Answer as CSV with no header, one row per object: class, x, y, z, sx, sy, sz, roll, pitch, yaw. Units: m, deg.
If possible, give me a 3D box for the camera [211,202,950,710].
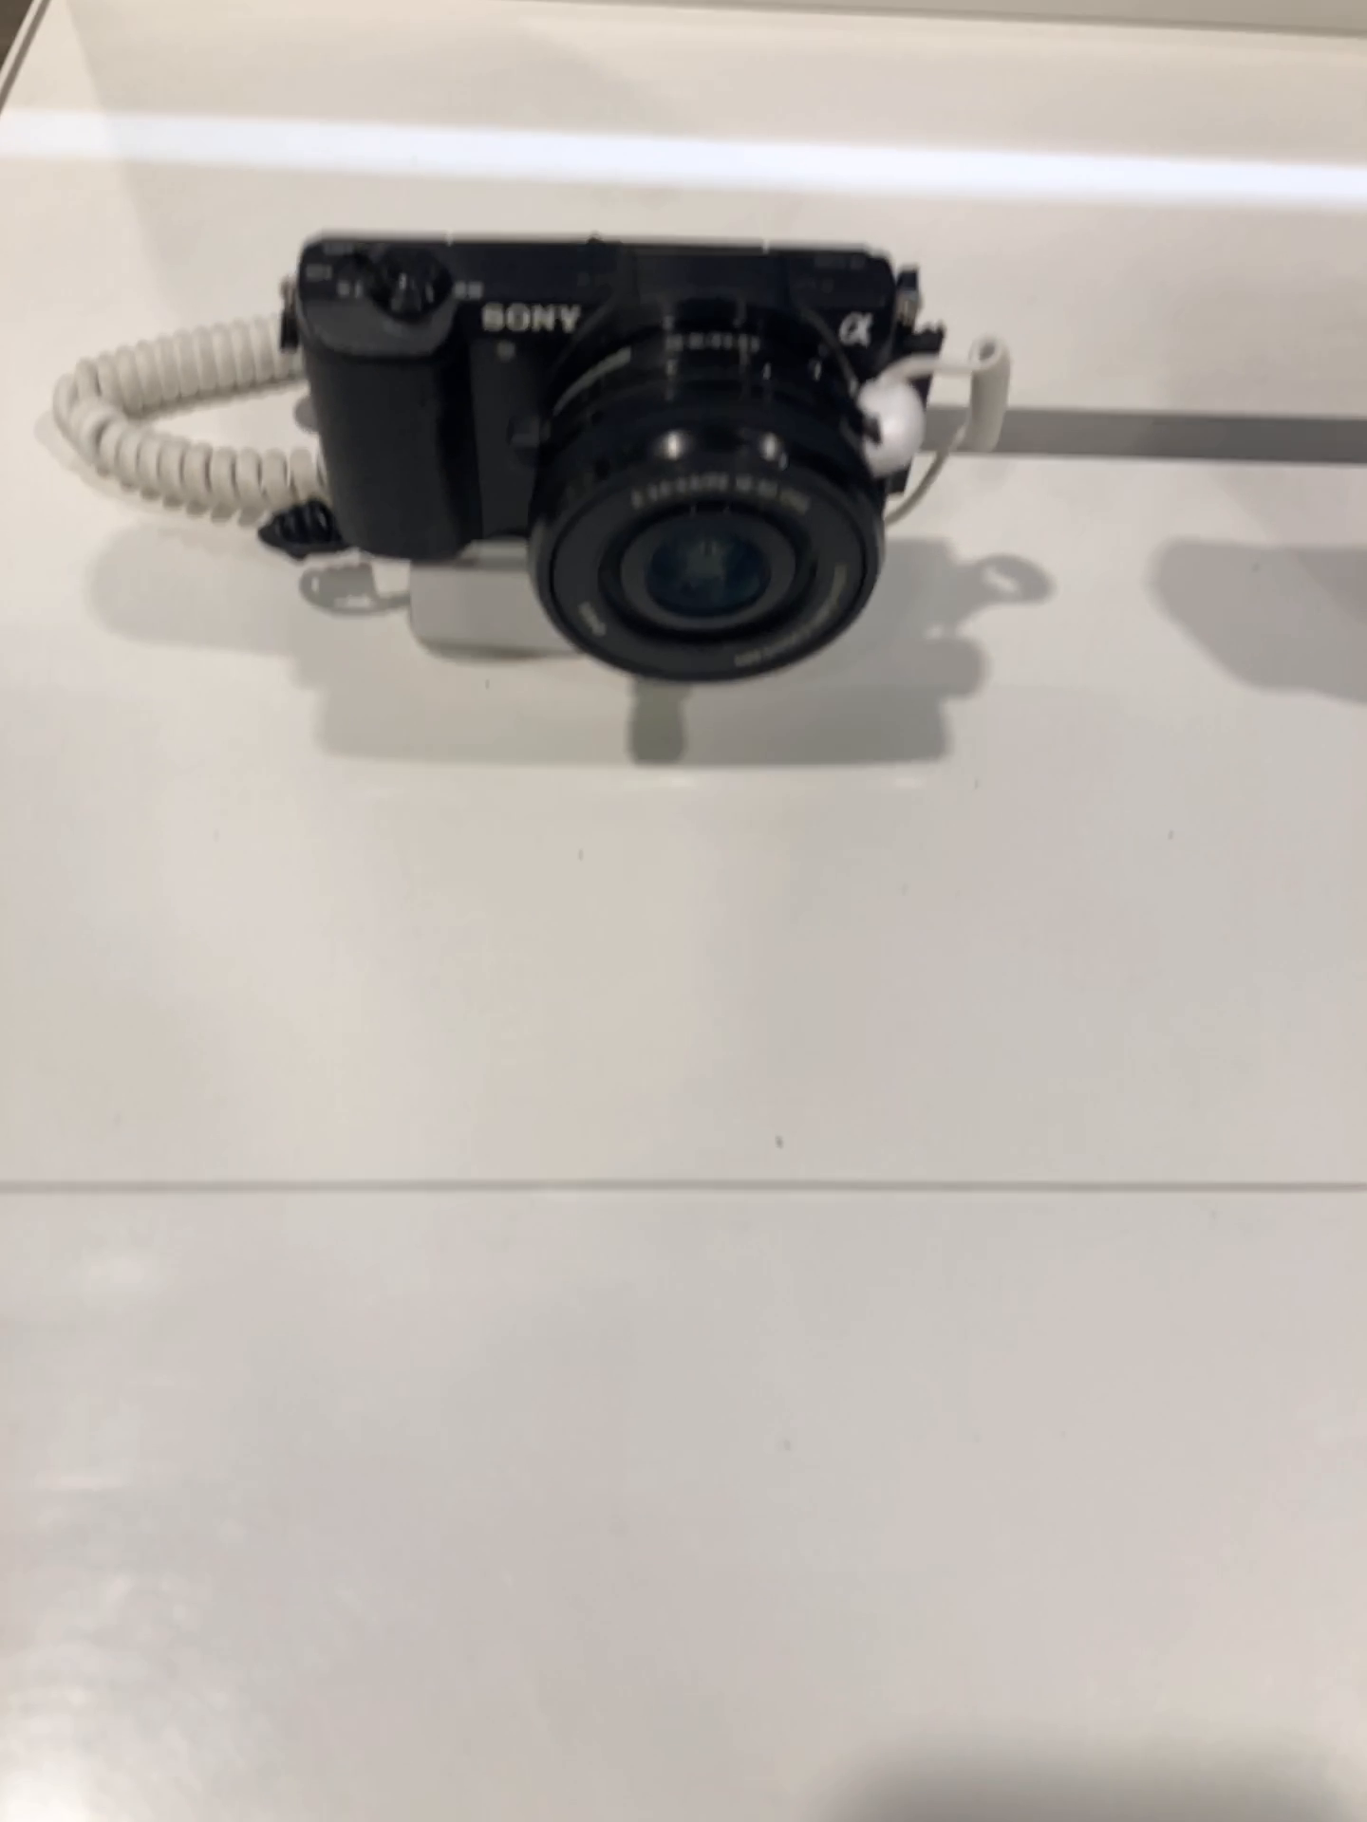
camera,-0.017,-0.081,0.273,0.113,0.060,0.062,1,57,-2
